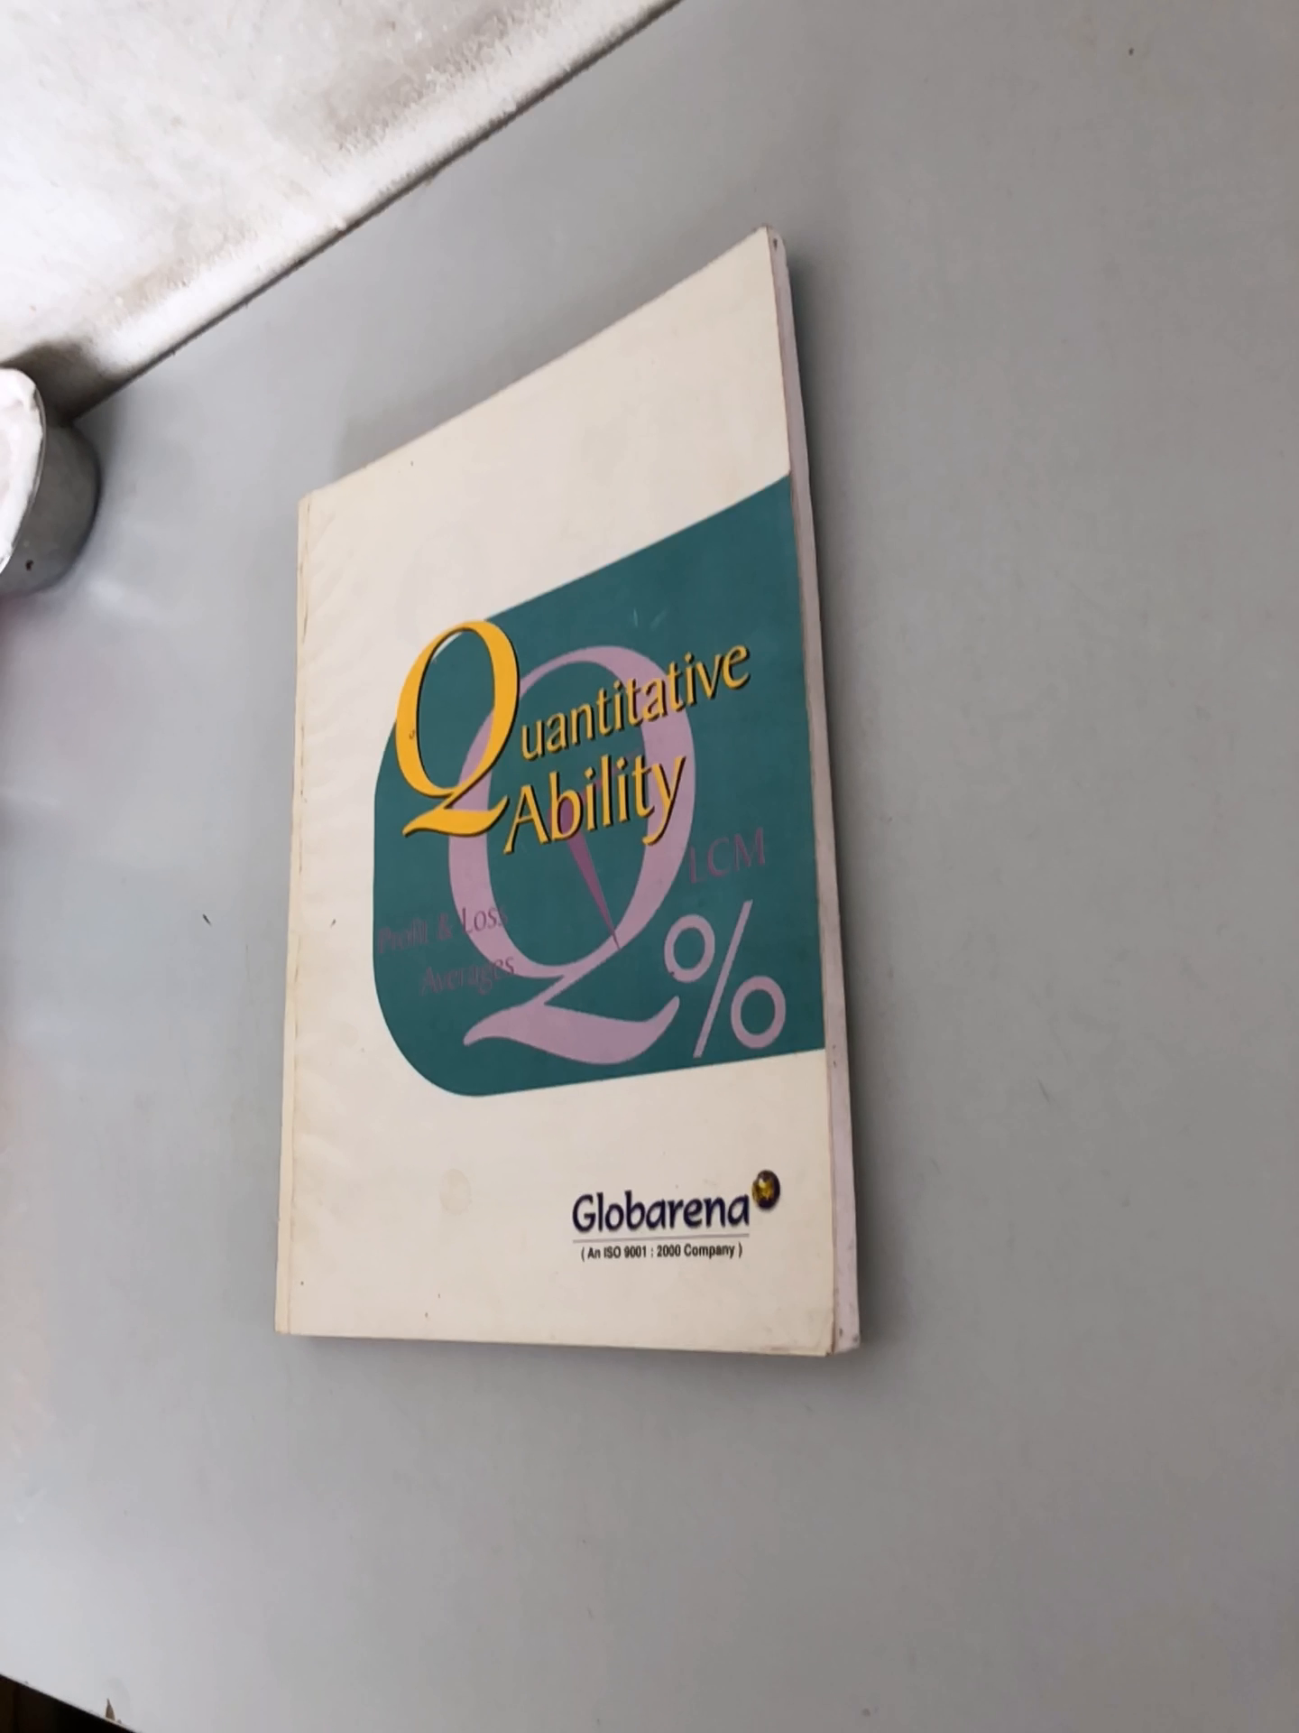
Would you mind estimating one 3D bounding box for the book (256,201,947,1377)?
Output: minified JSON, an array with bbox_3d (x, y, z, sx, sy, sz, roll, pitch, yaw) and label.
[{"bbox_3d":[-0.028,-0.008,0.350,0.191,0.020,0.240,-13,73,39],"label":"book"}]
